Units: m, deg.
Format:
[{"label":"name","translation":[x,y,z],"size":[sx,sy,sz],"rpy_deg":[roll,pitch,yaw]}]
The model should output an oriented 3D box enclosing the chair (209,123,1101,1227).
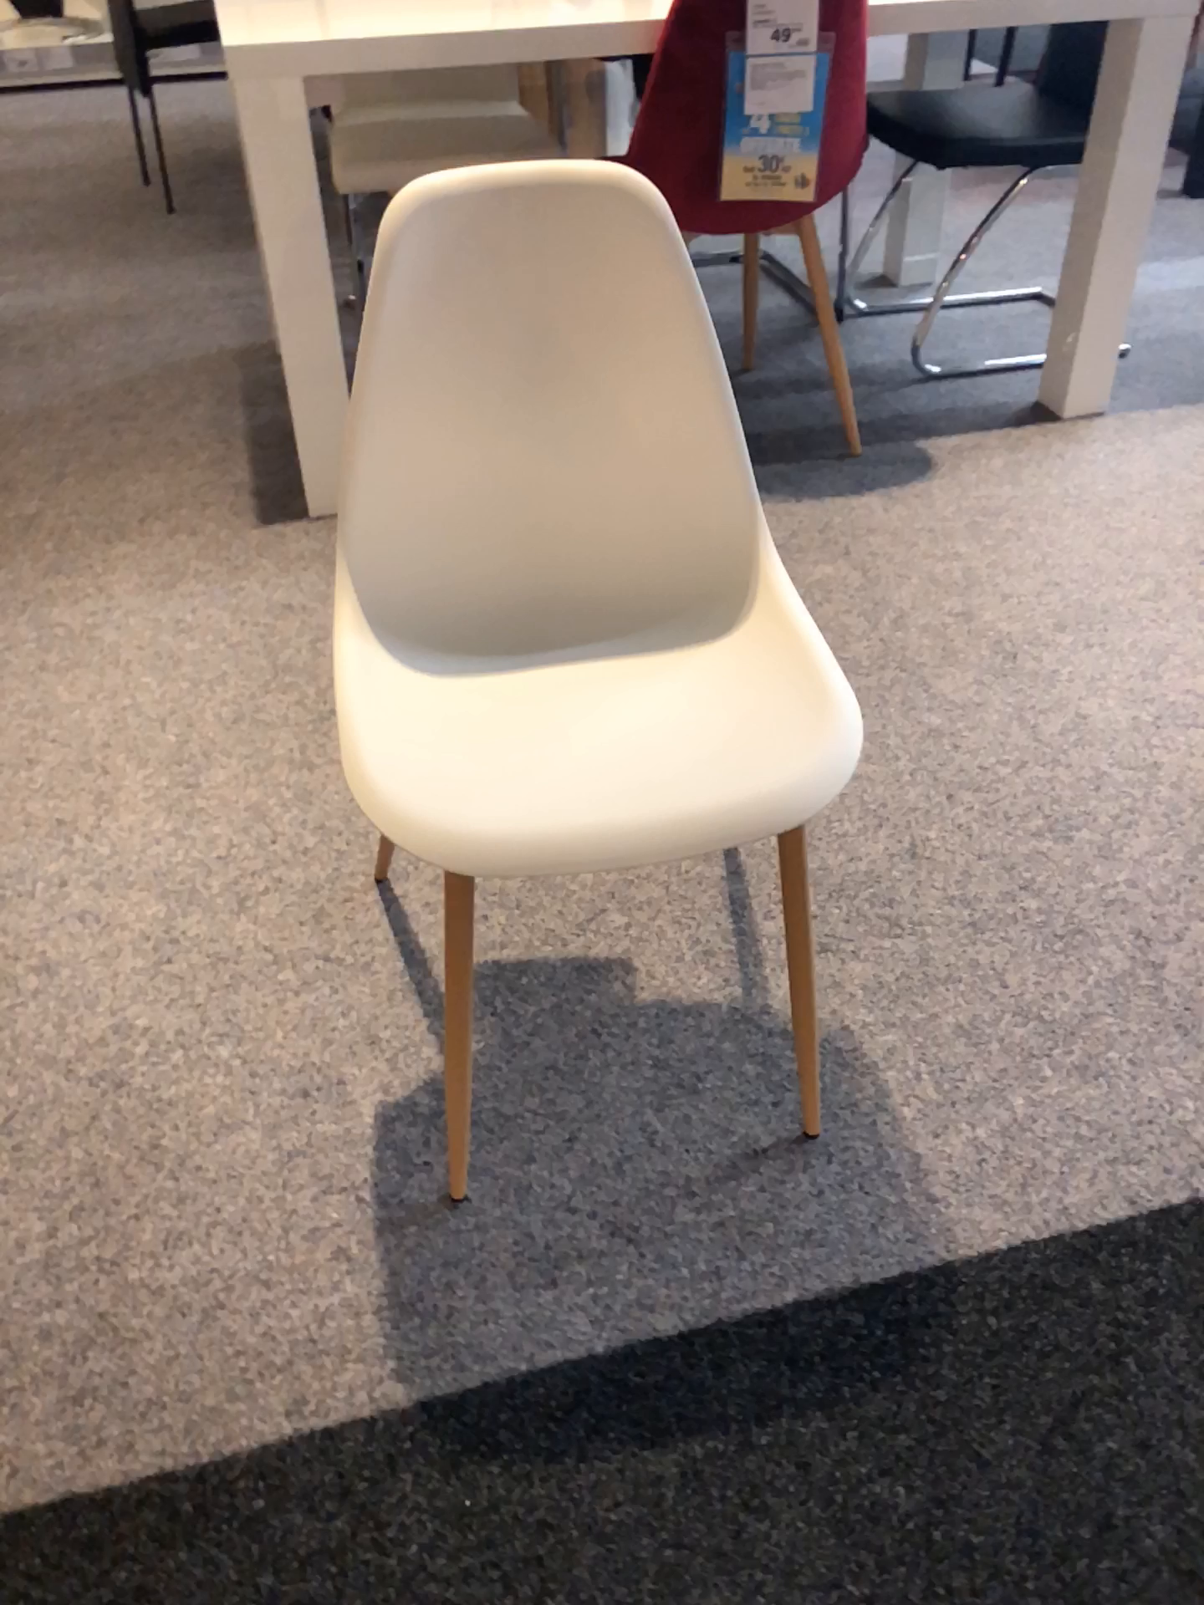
[{"label":"chair","translation":[-0.006,-0.127,1.317],"size":[0.571,0.845,0.603],"rpy_deg":[-8,40,-8]}]
